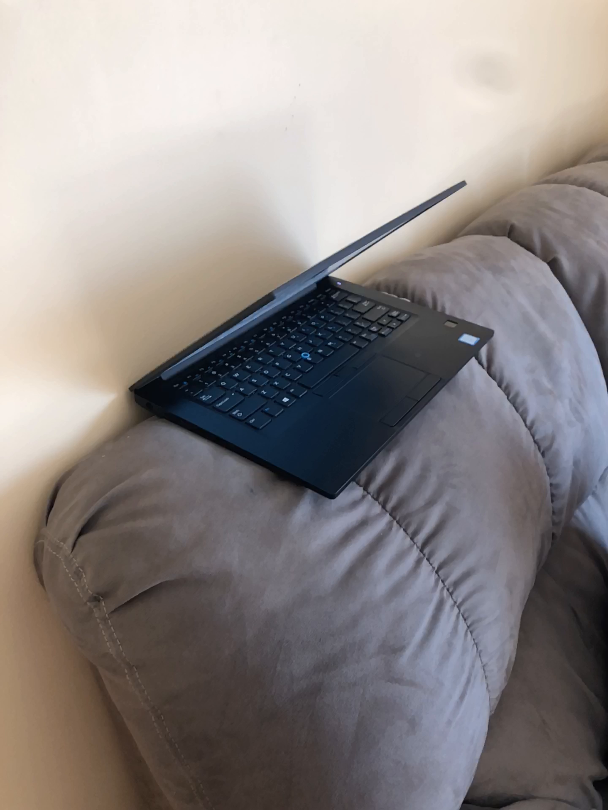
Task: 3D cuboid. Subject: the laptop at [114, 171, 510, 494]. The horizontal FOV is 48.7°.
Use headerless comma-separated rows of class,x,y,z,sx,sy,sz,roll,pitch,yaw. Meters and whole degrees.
laptop,0.028,-0.099,0.634,0.213,0.128,0.321,22,39,27
